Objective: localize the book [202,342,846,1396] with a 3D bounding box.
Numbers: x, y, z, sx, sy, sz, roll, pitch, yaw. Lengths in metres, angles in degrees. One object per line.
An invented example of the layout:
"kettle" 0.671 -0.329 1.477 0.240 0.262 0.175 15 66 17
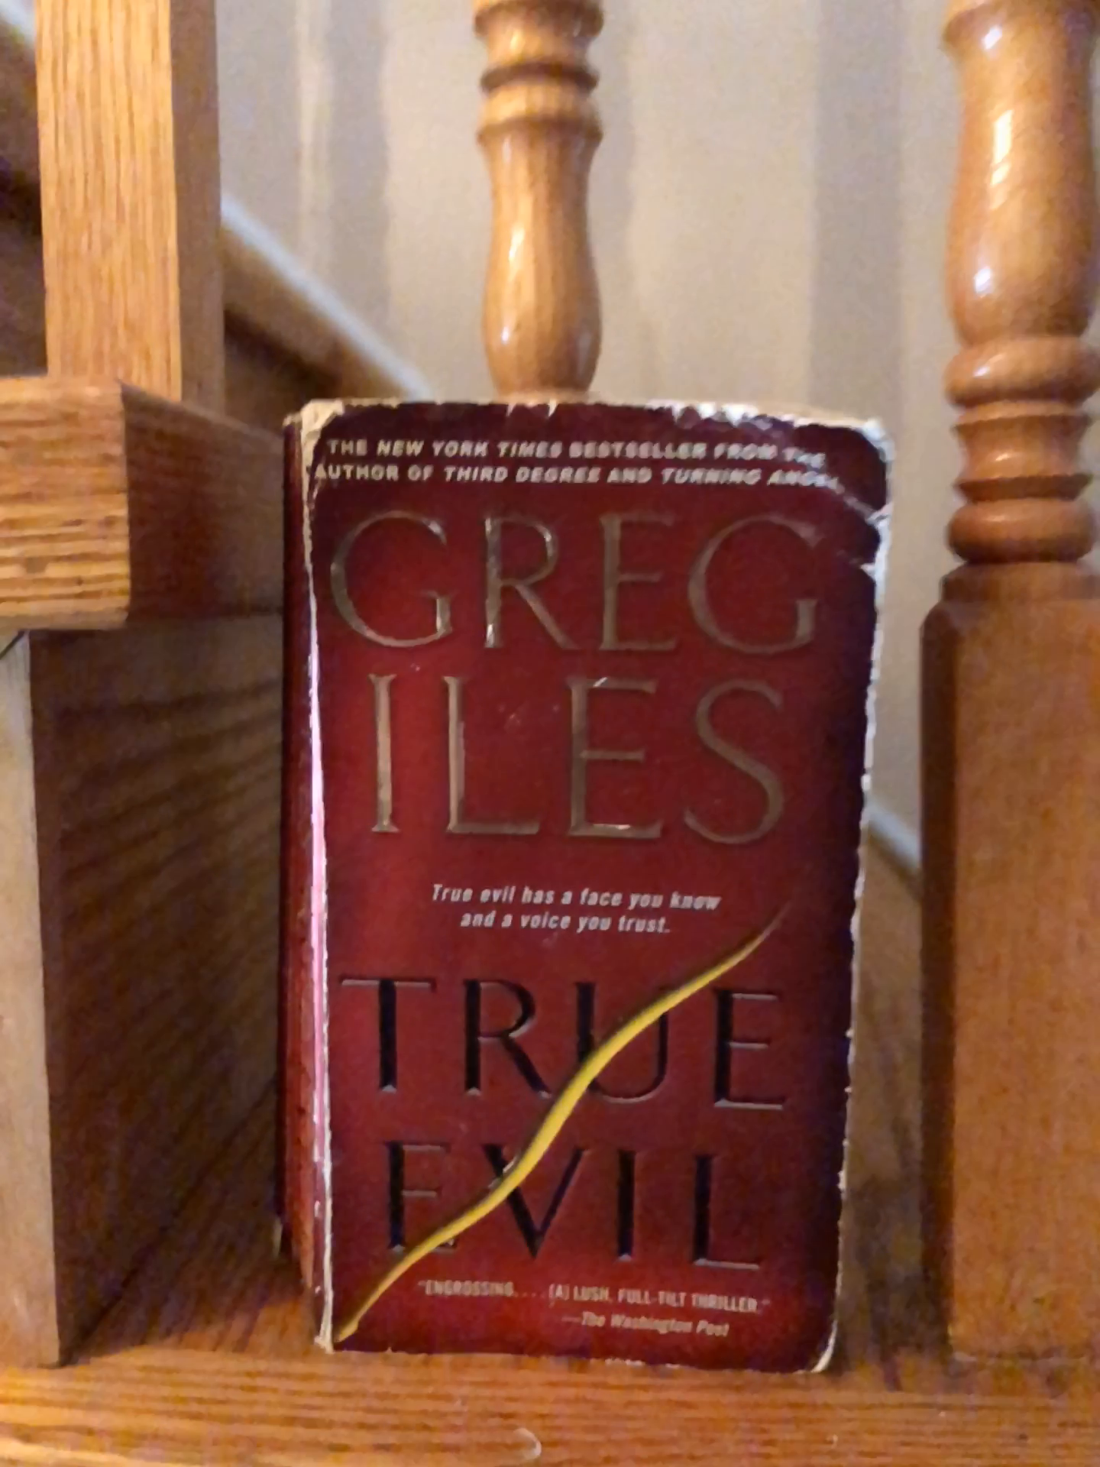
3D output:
"book" -0.003 0.026 0.274 0.120 0.205 0.068 0 6 5
